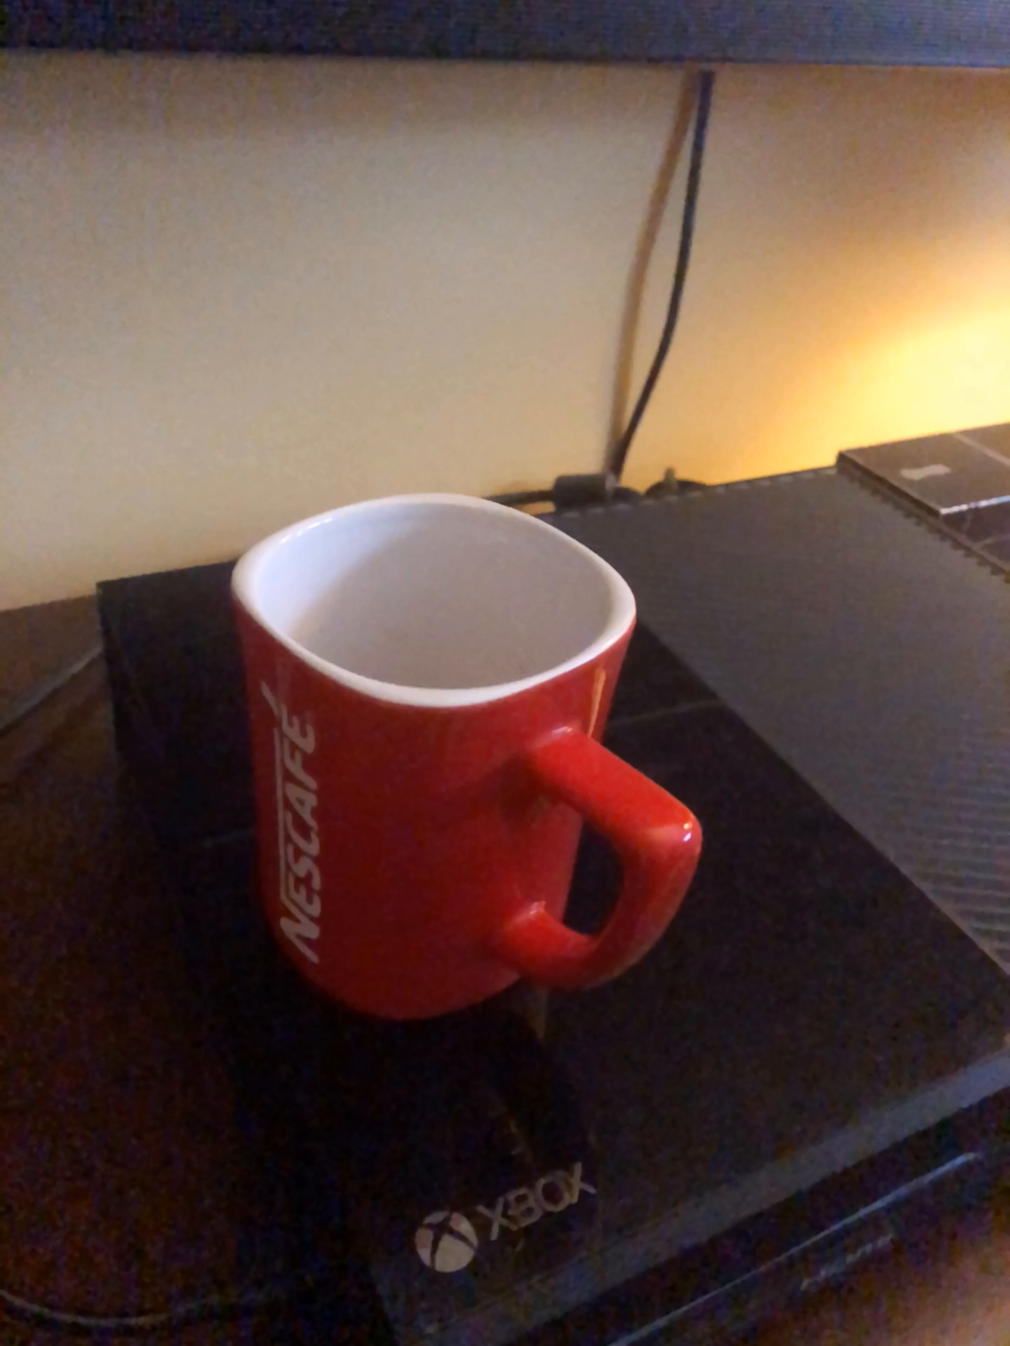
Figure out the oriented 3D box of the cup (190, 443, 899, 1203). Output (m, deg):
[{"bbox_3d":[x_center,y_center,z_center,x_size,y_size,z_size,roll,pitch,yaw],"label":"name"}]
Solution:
[{"bbox_3d":[0.001,0.021,0.237,0.080,0.089,0.110,-25,45,-37],"label":"cup"}]
